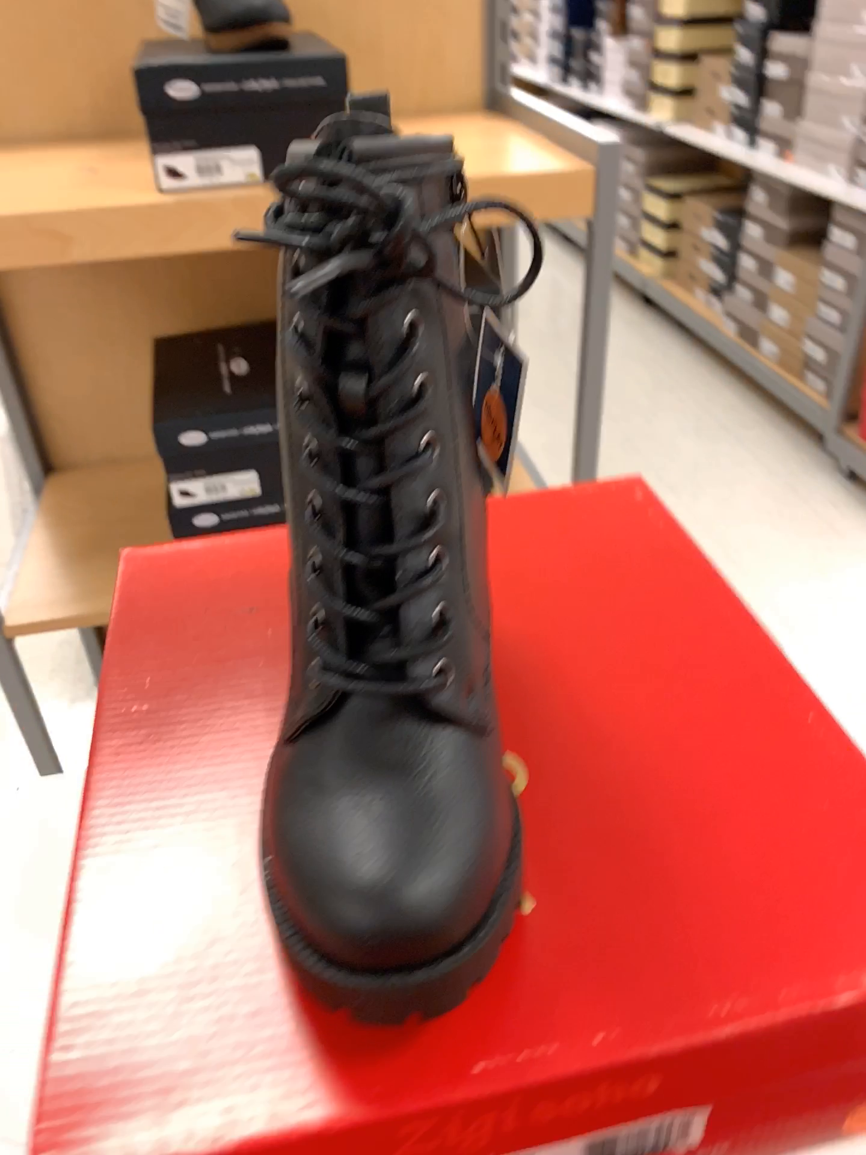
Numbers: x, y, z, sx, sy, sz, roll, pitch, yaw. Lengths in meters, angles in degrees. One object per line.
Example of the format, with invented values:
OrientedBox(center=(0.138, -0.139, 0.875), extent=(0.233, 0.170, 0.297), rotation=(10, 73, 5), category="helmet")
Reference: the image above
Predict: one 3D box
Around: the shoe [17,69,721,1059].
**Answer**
OrientedBox(center=(-0.006, -0.017, 0.257), extent=(0.092, 0.203, 0.202), rotation=(-2, 35, 1), category="shoe")
